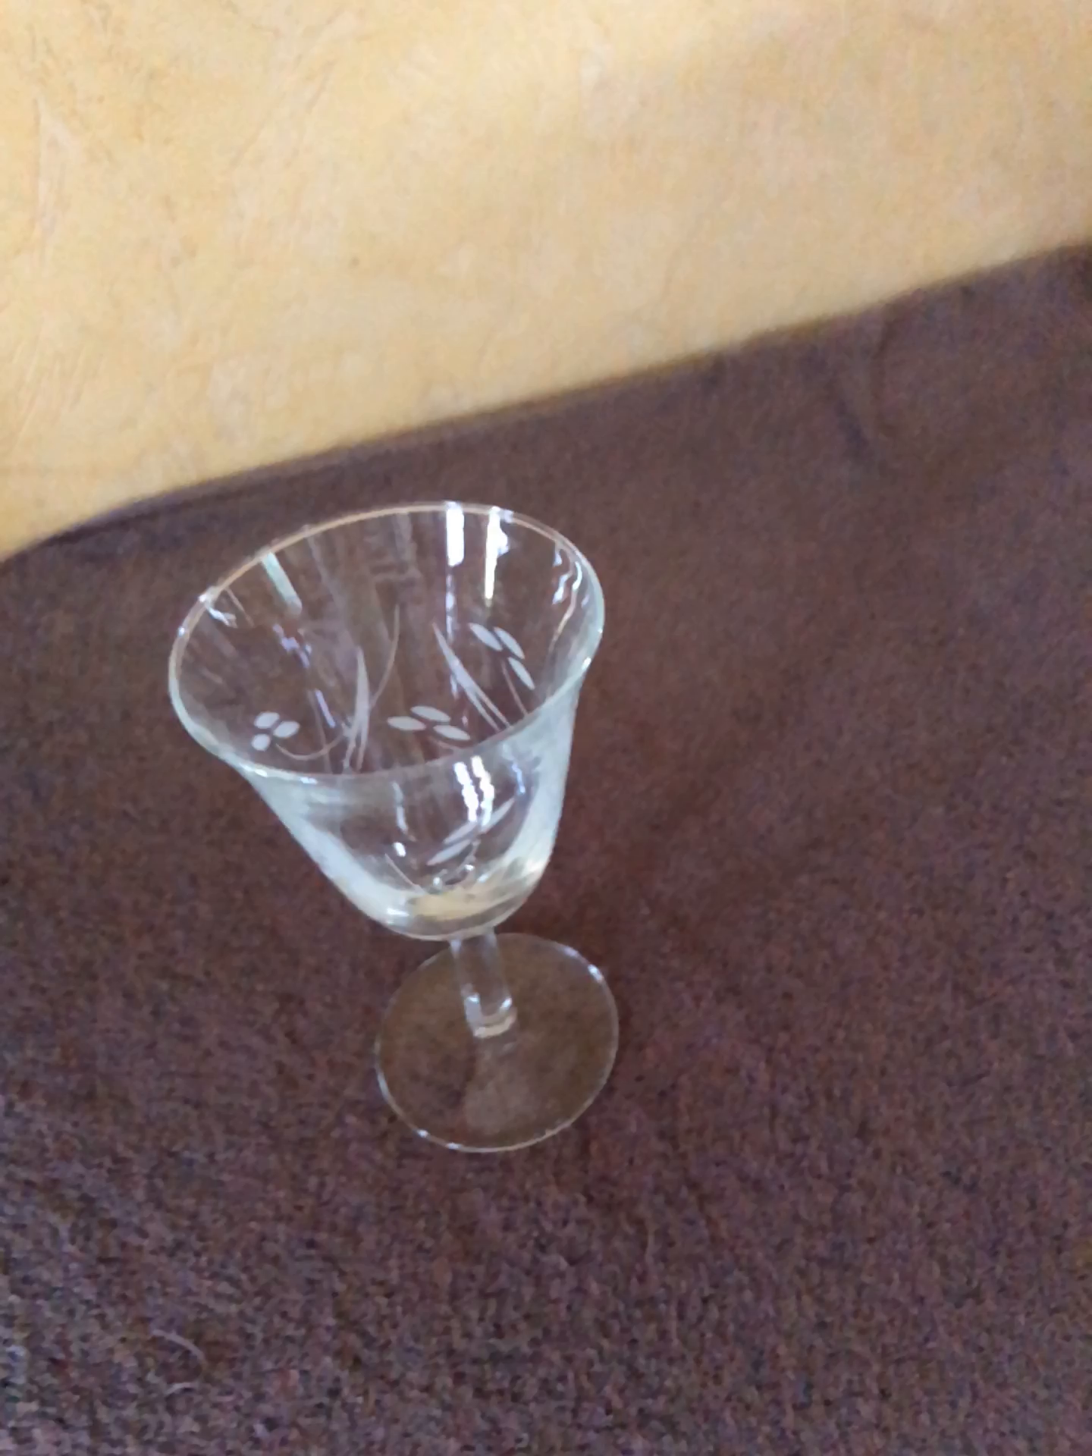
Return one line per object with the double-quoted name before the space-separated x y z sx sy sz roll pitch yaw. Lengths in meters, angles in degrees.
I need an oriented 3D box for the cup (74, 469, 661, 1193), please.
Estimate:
"cup" -0.023 0.031 0.287 0.090 0.149 0.091 -5 44 5
